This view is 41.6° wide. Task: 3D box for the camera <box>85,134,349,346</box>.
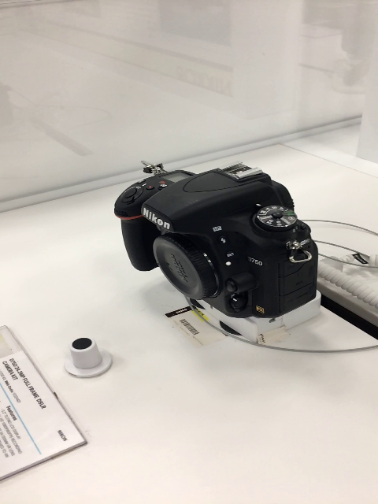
[{"bbox_3d":[0.014,-0.016,0.353,0.086,0.091,0.144,-27,42,-27],"label":"camera"}]
